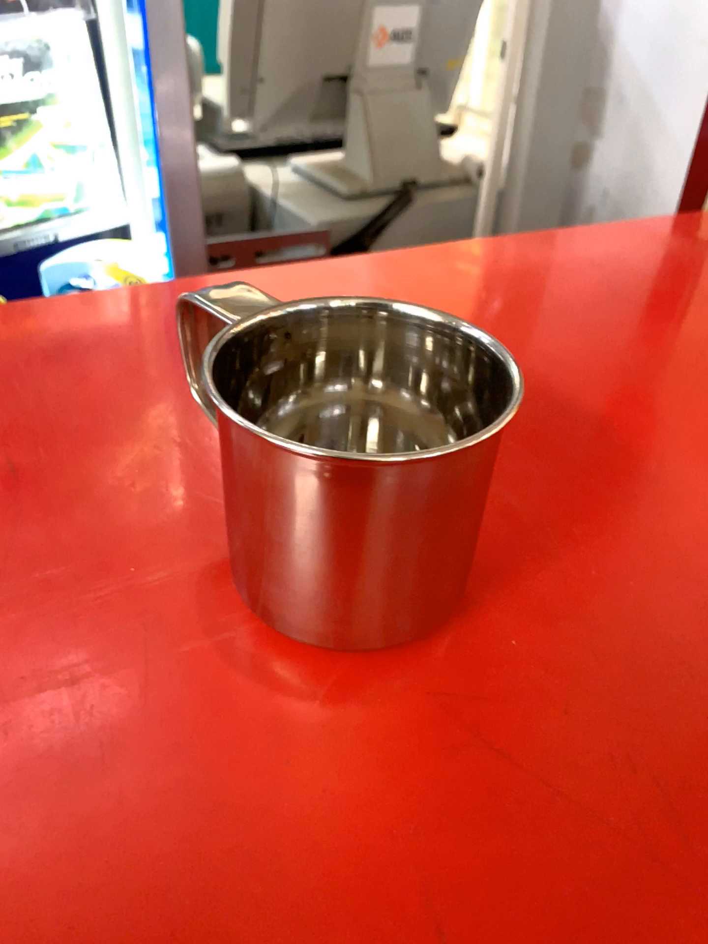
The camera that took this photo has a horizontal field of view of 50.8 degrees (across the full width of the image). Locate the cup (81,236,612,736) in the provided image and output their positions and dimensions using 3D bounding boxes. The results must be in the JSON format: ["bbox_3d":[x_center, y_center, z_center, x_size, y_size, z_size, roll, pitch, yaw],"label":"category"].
[{"bbox_3d":[-0.008,-0.008,0.201,0.080,0.065,0.110,-24,44,-31],"label":"cup"}]
